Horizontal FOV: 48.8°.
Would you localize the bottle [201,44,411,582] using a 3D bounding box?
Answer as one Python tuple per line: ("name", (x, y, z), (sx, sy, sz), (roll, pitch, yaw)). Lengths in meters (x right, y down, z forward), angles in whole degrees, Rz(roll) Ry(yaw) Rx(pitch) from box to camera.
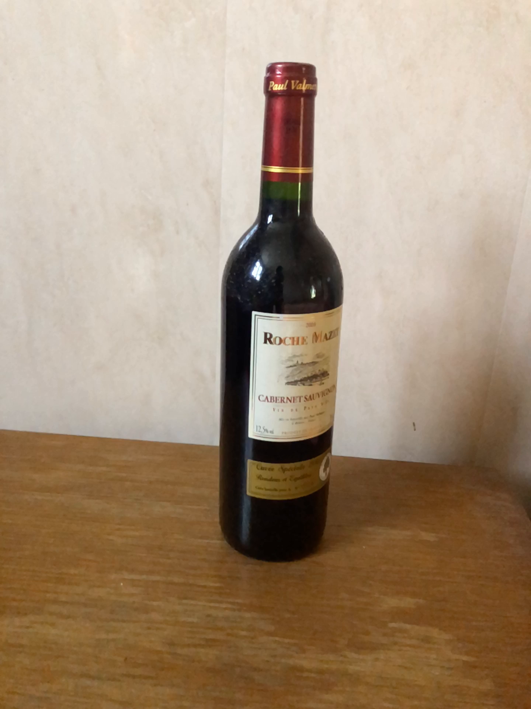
("bottle", (0.014, -0.017, 0.366), (0.080, 0.299, 0.080), (3, 19, -1))
